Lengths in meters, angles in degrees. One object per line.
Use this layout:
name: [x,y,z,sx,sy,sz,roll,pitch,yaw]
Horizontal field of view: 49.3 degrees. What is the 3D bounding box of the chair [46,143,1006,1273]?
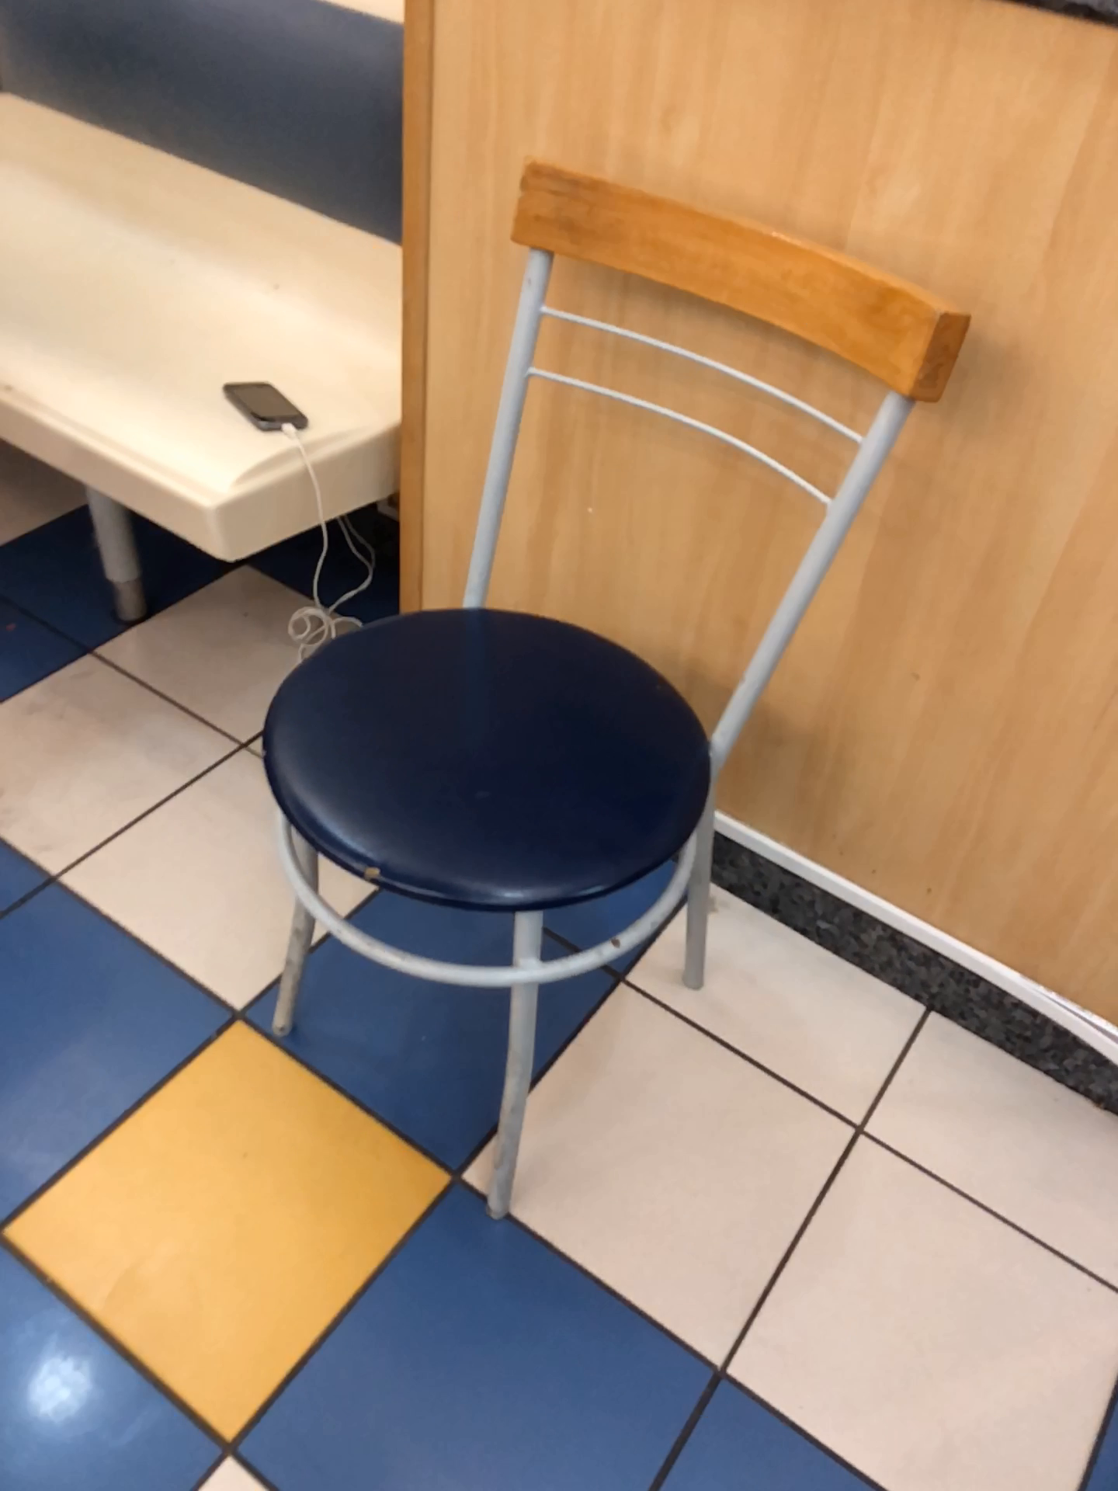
chair: [-0.025,-0.036,1.093,0.441,0.744,0.523,29,47,23]
